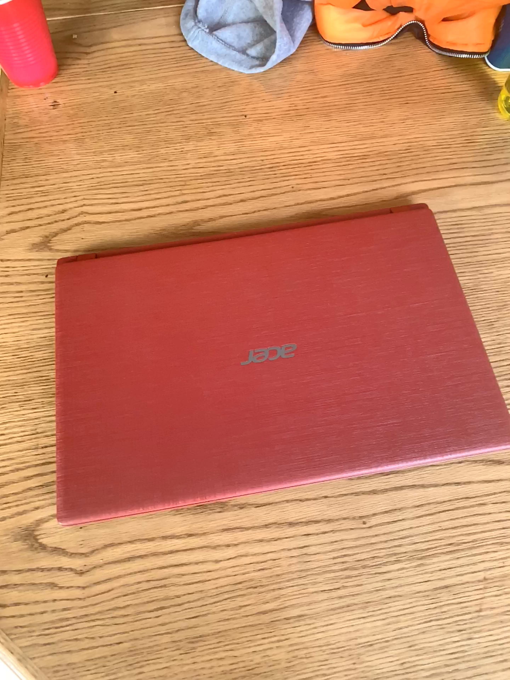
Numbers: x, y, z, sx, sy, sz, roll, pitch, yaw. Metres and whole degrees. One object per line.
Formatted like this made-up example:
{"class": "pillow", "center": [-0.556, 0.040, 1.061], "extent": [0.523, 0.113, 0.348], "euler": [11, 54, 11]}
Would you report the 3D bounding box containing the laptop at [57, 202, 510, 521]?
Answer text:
{"class": "laptop", "center": [0.010, 0.006, 0.461], "extent": [0.362, 0.013, 0.236], "euler": [-9, 67, -1]}
